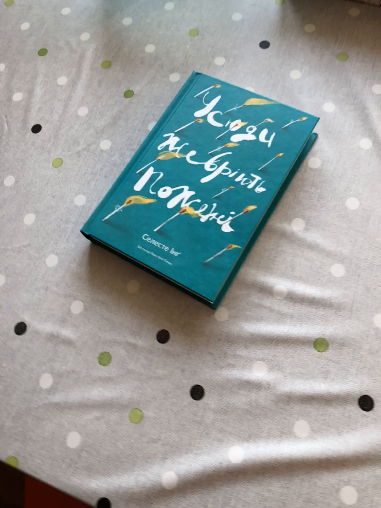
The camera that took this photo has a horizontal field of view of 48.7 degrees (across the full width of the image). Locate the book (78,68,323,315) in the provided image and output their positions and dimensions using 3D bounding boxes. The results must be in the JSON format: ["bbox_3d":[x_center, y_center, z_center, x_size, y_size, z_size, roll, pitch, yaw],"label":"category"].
[{"bbox_3d":[0.014,-0.071,0.416,0.144,0.040,0.214,27,74,16],"label":"book"}]
